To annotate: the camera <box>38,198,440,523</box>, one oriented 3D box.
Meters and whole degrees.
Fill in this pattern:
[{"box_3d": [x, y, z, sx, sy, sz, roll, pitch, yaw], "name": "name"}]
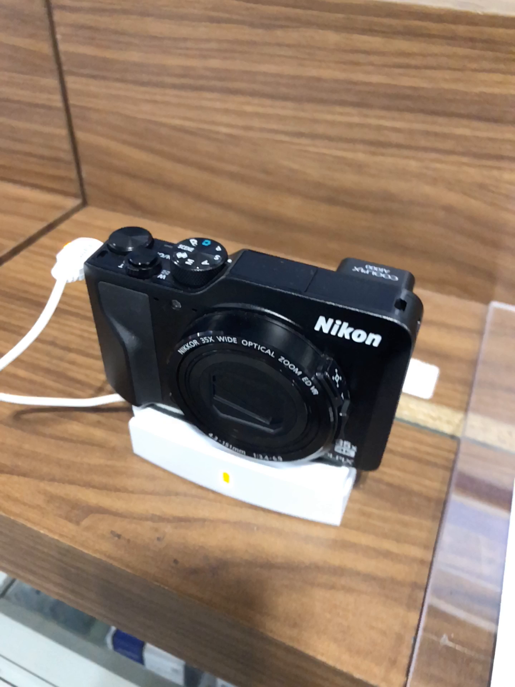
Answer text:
[{"box_3d": [-0.007, 0.002, 0.208, 0.120, 0.070, 0.050, 17, 41, 17], "name": "camera"}]
